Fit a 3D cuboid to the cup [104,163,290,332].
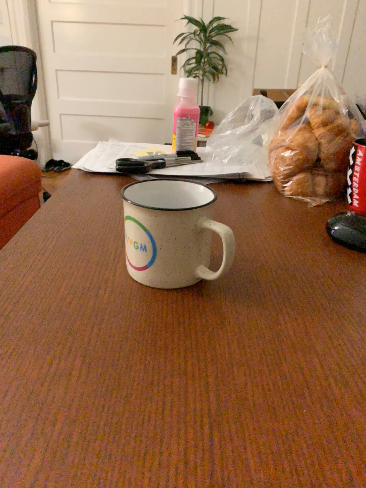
[{"bbox_3d":[0.007,-0.009,0.380,0.100,0.099,0.151,-21,34,-40],"label":"cup"}]
